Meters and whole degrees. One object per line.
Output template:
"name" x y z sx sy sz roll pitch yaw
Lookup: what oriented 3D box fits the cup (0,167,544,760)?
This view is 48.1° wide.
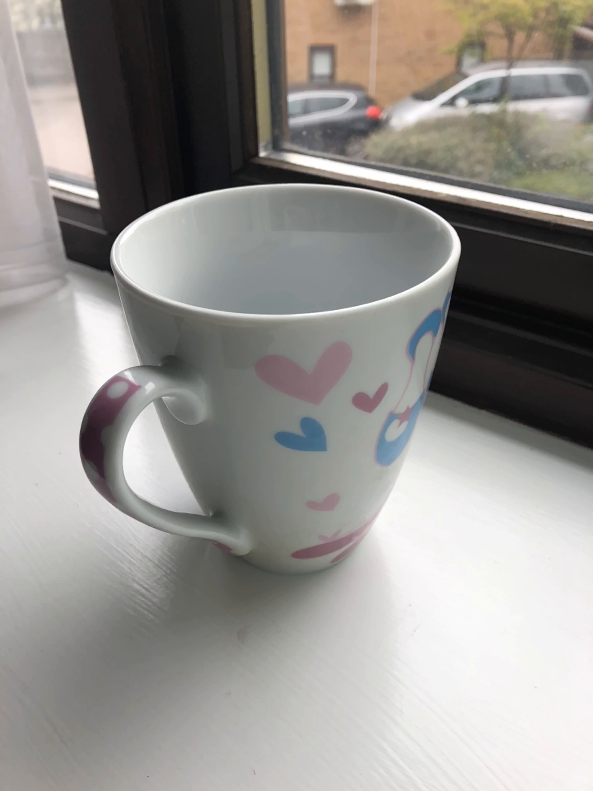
"cup" -0.005 -0.001 0.206 0.110 0.089 0.141 18 38 26
